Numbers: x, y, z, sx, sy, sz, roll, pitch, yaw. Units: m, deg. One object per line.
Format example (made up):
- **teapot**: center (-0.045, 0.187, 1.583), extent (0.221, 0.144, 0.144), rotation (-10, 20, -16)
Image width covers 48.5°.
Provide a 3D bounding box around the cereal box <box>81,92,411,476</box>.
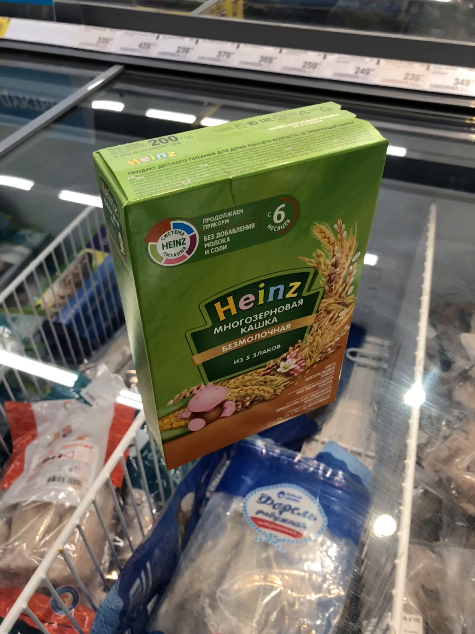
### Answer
- **cereal box**: center (0.006, -0.008, 0.305), extent (0.140, 0.199, 0.050), rotation (-18, 46, -18)
